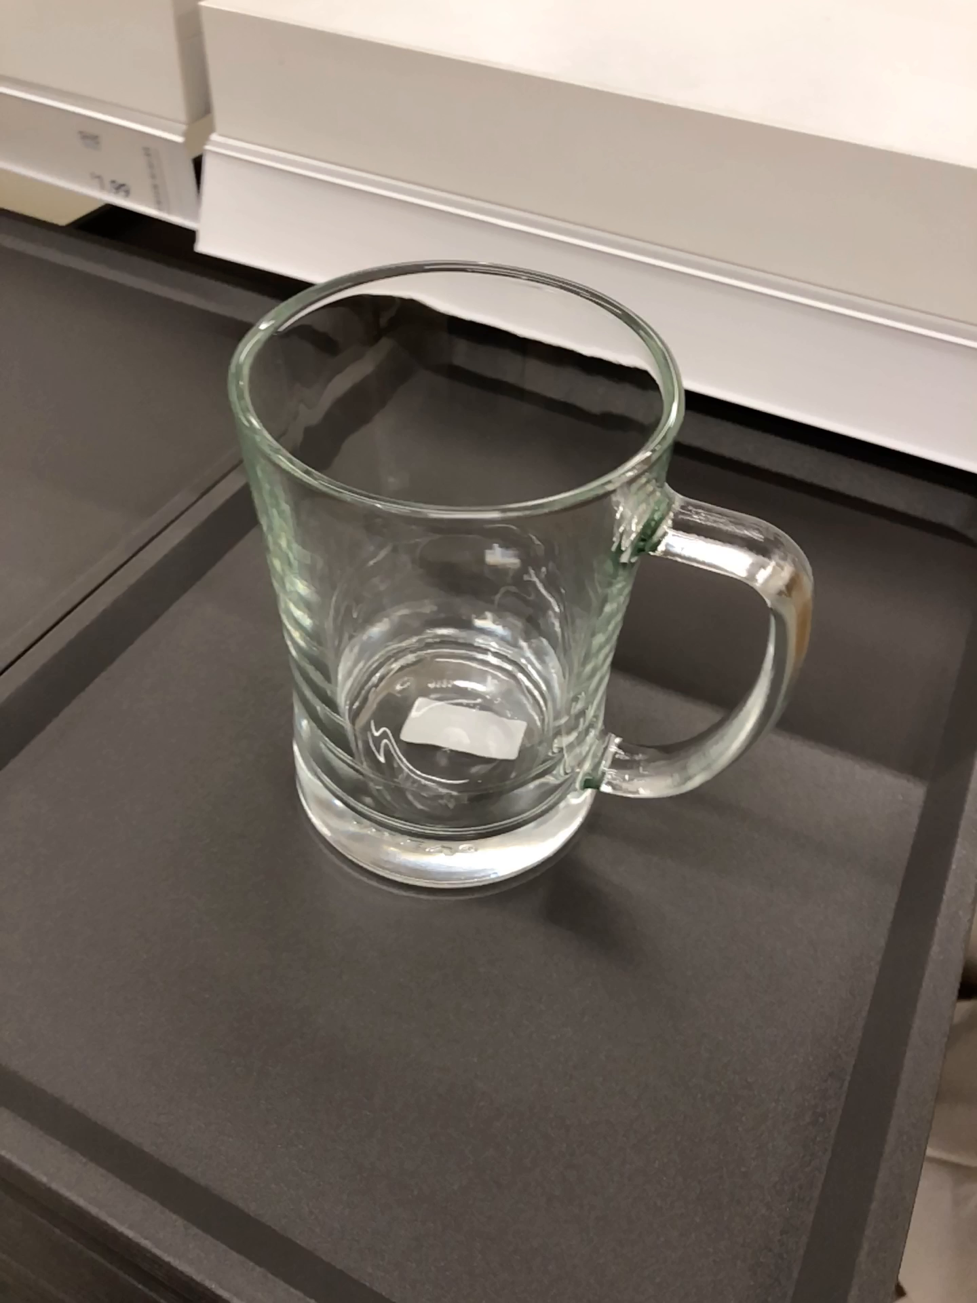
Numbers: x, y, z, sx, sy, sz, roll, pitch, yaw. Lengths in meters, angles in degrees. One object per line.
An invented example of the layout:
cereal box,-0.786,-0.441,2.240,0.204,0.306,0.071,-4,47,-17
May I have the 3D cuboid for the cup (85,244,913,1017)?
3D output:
cup,0.007,-0.009,0.293,0.160,0.130,0.110,17,46,13
